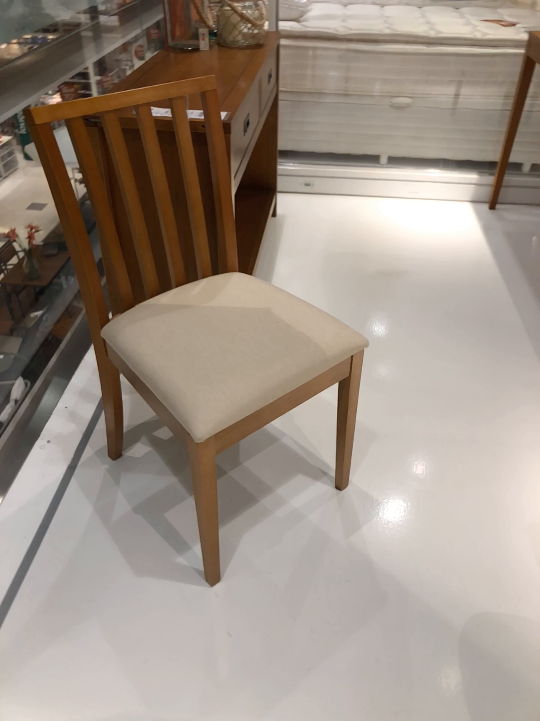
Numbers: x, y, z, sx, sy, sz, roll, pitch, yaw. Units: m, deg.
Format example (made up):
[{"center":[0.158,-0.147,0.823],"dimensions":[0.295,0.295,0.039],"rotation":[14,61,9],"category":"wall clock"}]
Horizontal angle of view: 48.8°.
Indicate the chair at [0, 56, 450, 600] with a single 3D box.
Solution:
[{"center":[-0.097,-0.092,1.238],"dimensions":[0.542,0.833,0.552],"rotation":[-29,47,-33],"category":"chair"}]
